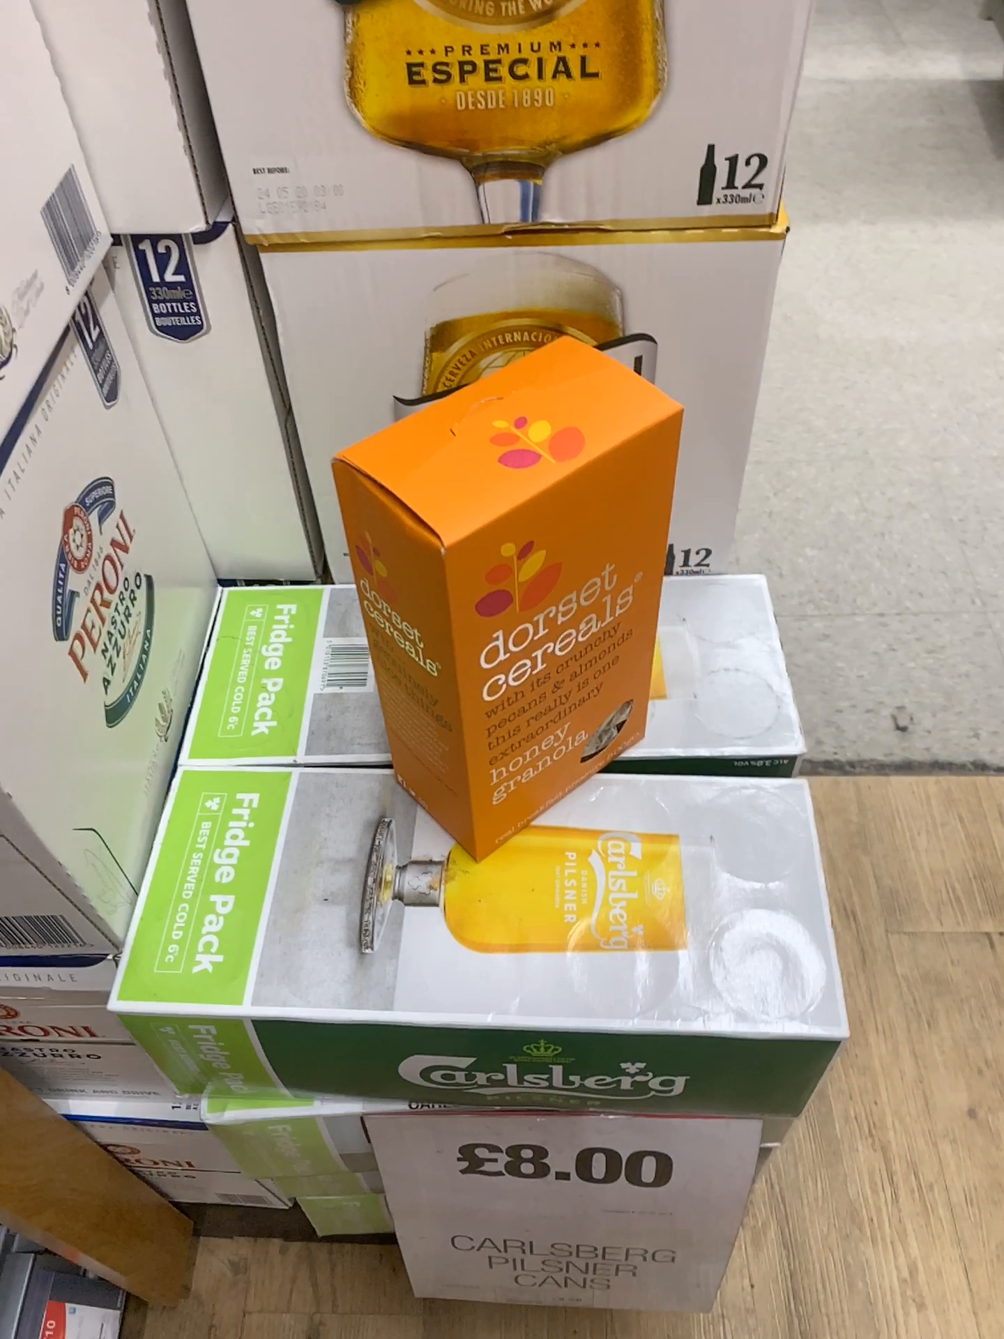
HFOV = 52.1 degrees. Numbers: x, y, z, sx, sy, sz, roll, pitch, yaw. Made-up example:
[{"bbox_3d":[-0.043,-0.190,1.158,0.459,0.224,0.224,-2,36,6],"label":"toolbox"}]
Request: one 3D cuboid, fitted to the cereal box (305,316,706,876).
[{"bbox_3d":[0.007,-0.021,0.428,0.120,0.198,0.070,-34,57,-22],"label":"cereal box"}]
